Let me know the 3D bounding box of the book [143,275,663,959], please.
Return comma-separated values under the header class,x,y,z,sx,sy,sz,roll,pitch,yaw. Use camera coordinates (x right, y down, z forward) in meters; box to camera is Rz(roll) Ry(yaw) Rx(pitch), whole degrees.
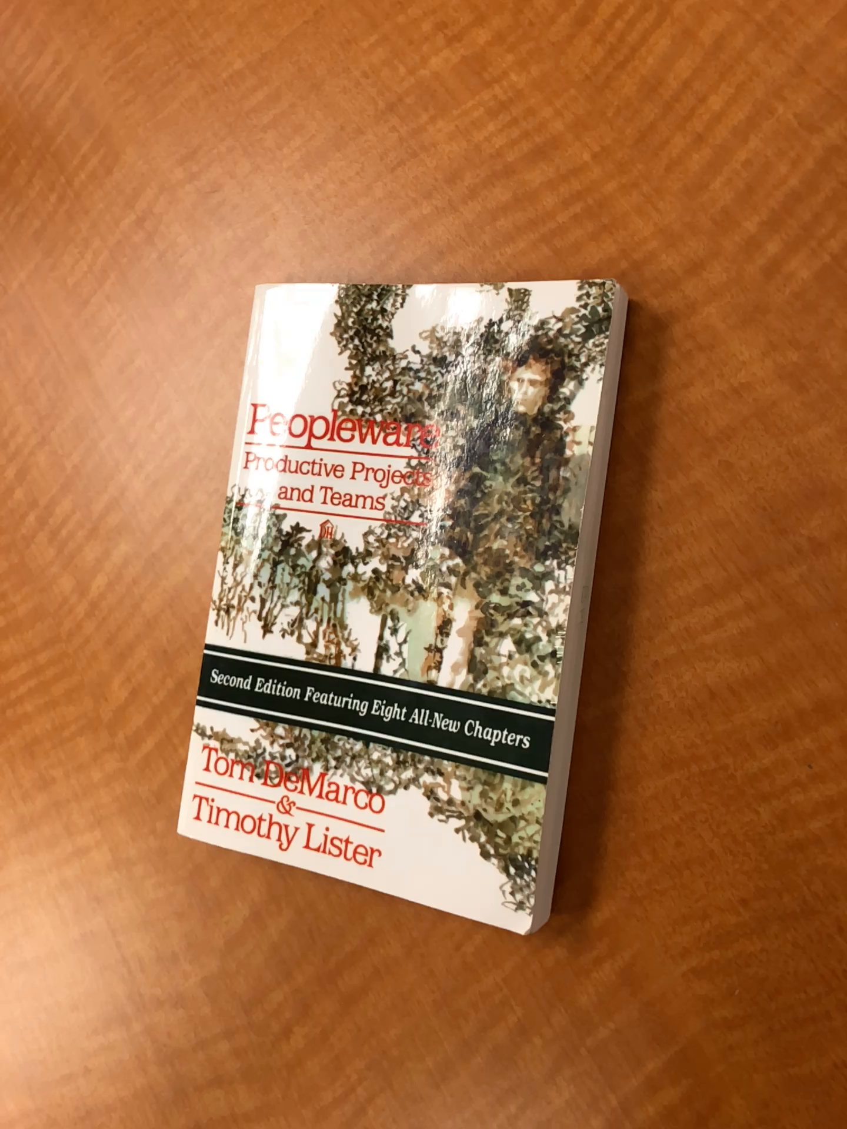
class,x,y,z,sx,sy,sz,roll,pitch,yaw
book,-0.009,0.008,0.353,0.160,0.050,0.220,7,87,23
